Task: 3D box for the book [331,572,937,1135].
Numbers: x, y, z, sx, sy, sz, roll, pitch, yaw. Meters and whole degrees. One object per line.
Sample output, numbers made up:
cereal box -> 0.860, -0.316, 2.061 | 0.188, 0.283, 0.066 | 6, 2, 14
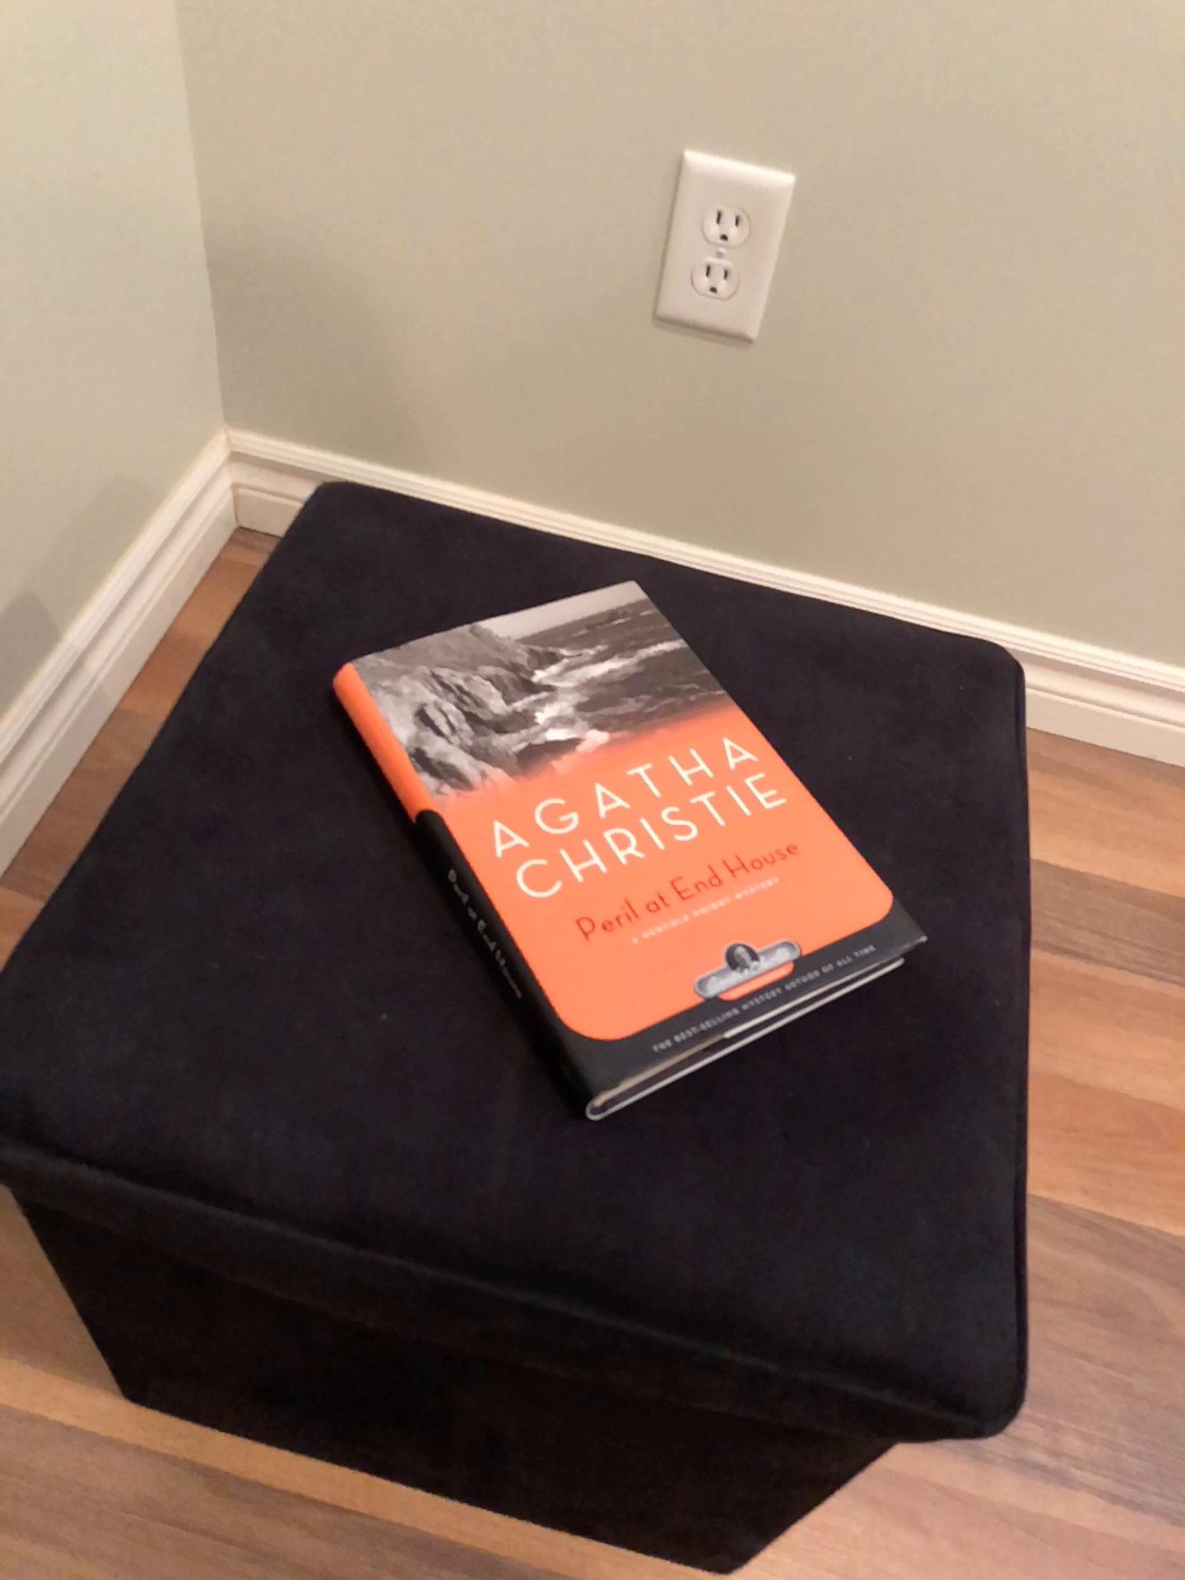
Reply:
book -> 0.009, 0.010, 0.505 | 0.146, 0.030, 0.206 | -21, 57, -25
